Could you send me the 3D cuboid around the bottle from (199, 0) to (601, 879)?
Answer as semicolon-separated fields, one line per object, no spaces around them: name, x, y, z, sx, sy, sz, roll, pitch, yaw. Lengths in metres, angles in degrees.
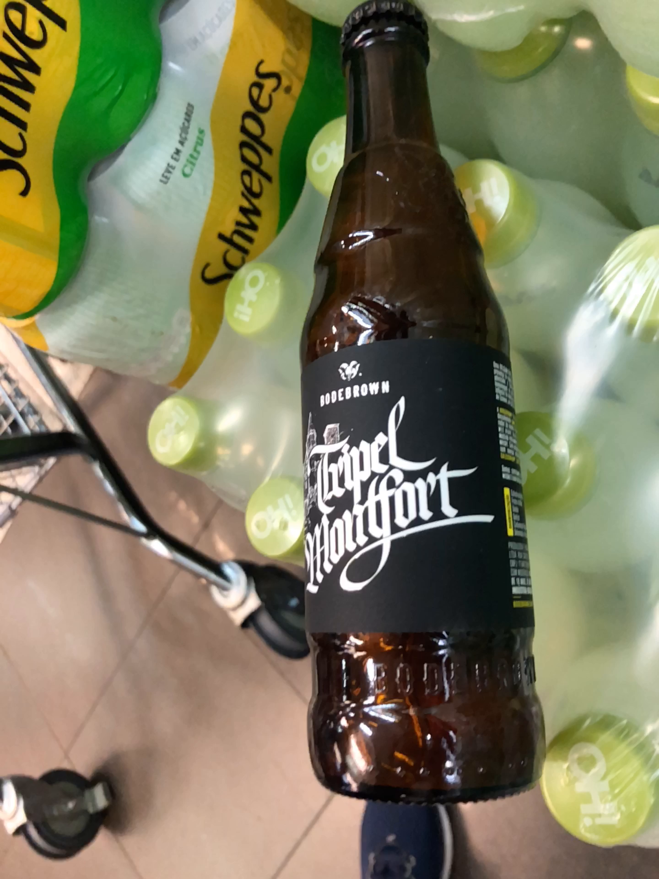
bottle;0.016;-0.037;0.199;0.070;0.070;0.250;-9;76;31
